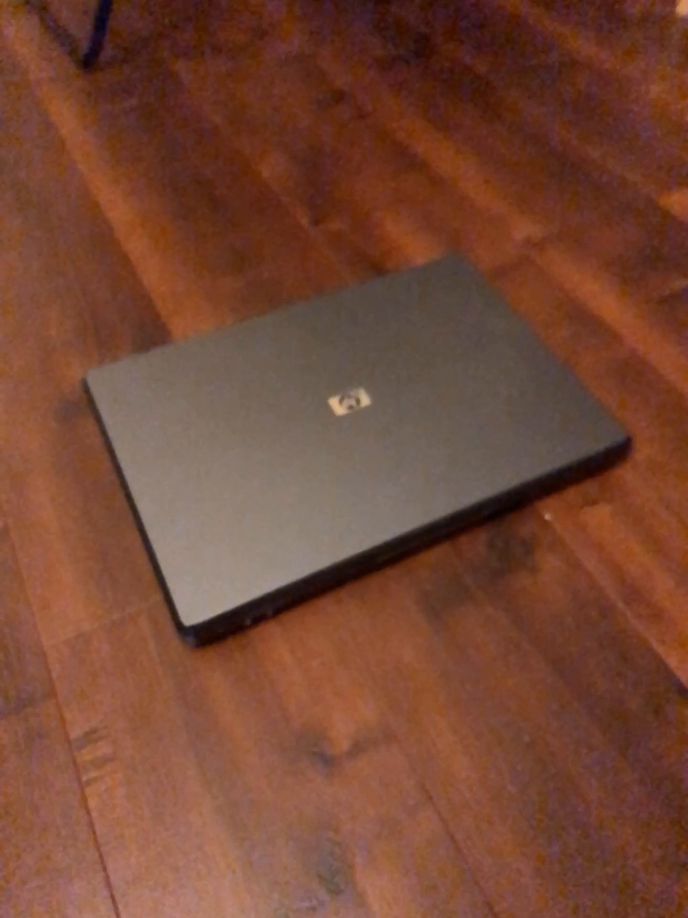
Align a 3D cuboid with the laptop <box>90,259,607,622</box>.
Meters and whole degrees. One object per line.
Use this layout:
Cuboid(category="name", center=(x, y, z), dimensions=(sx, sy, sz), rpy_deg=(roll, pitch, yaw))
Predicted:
Cuboid(category="laptop", center=(-0.002, -0.038, 0.548), dimensions=(0.309, 0.005, 0.217), rpy_deg=(-21, 55, -17))
